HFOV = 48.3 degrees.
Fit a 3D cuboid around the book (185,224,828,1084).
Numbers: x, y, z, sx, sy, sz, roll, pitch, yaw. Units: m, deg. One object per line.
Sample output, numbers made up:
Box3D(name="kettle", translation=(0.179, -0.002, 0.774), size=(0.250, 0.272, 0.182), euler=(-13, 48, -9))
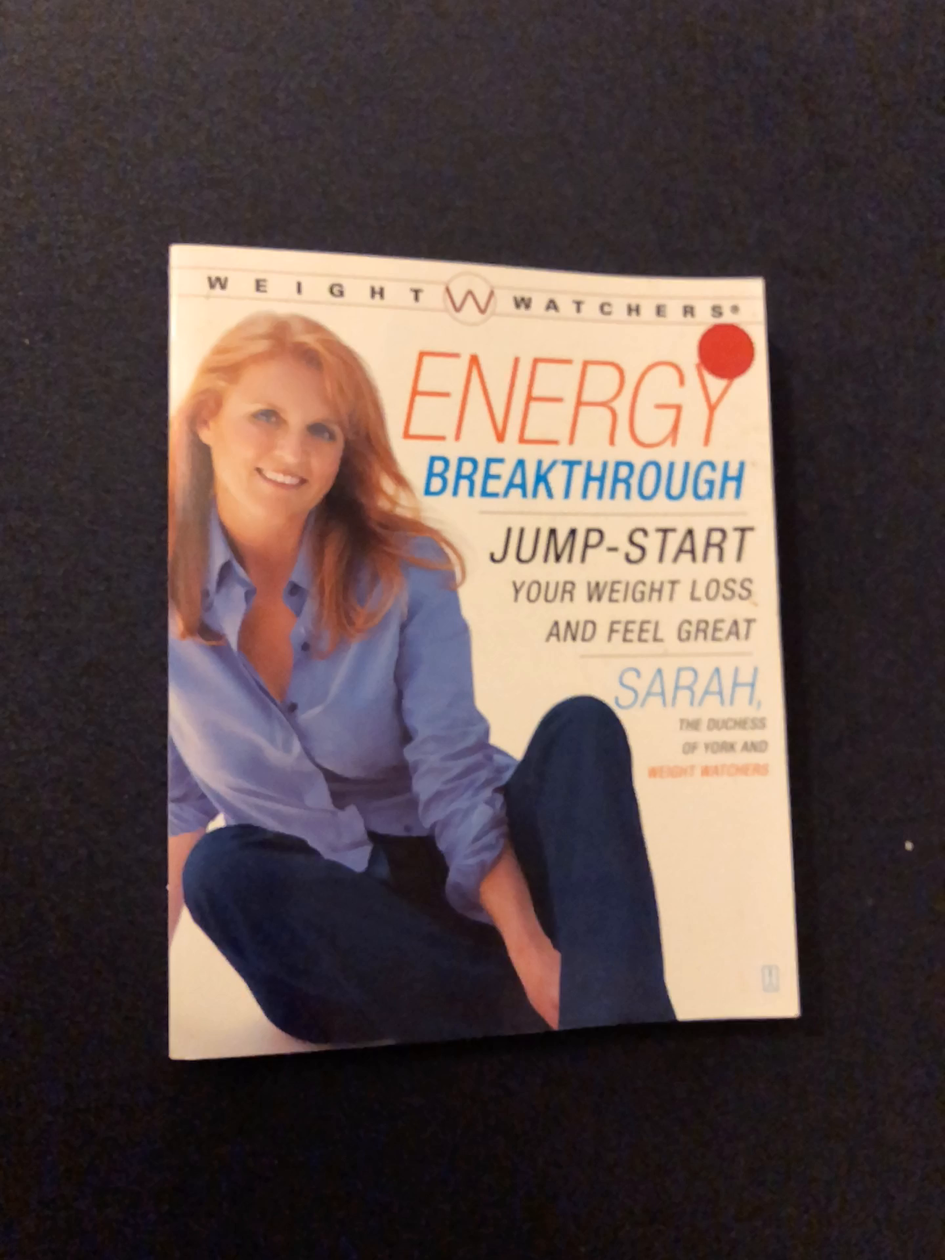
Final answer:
Box3D(name="book", translation=(0.010, 0.004, 0.320), size=(0.185, 0.030, 0.234), euler=(0, 84, -12))
